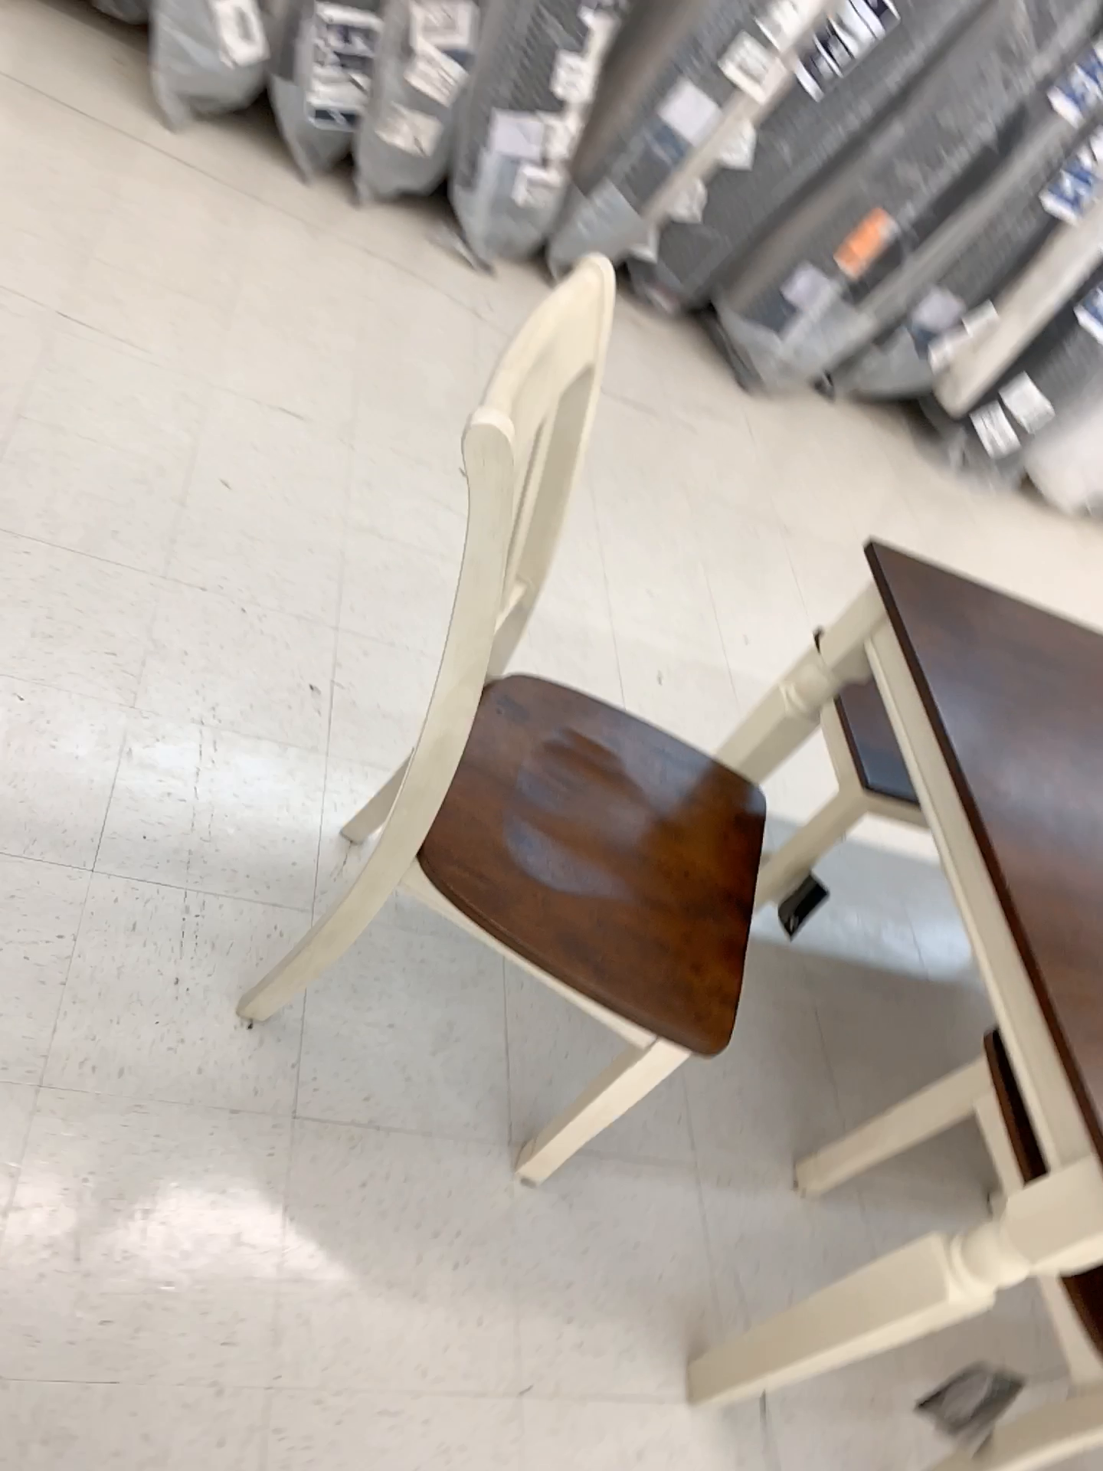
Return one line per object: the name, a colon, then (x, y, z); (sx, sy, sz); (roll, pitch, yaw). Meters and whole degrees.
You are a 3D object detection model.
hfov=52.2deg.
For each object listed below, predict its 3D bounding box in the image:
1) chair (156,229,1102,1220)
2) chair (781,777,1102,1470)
chair: (0.033, 0.049, 1.332); (0.594, 0.903, 0.527); (29, 41, -9)
chair: (0.789, 0.614, 1.324); (0.465, 0.932, 0.606); (16, 44, -22)
